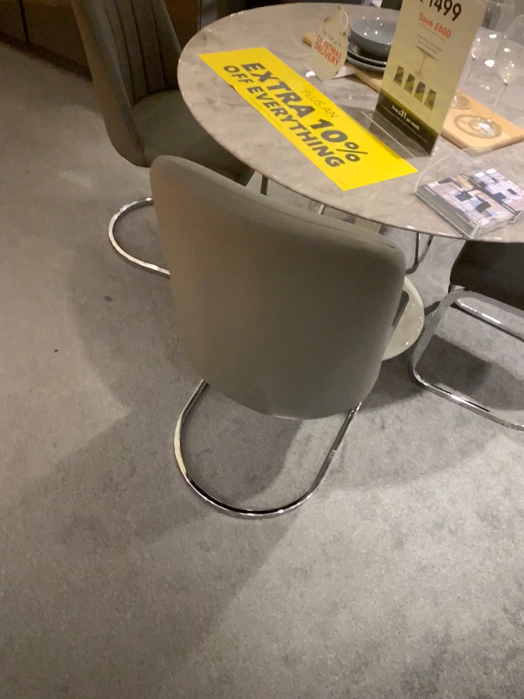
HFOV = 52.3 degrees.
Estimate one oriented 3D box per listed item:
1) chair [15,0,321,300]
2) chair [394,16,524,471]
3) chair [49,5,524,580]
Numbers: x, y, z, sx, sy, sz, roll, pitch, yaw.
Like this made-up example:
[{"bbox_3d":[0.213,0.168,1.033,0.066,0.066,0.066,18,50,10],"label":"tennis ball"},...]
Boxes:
[{"bbox_3d":[-0.250,-0.727,1.653,0.578,0.883,0.525,19,49,7],"label":"chair"},{"bbox_3d":[0.836,-0.236,1.401,0.579,0.883,0.524,26,50,13],"label":"chair"},{"bbox_3d":[0.064,-0.083,1.135,0.551,0.883,0.633,25,50,12],"label":"chair"}]
